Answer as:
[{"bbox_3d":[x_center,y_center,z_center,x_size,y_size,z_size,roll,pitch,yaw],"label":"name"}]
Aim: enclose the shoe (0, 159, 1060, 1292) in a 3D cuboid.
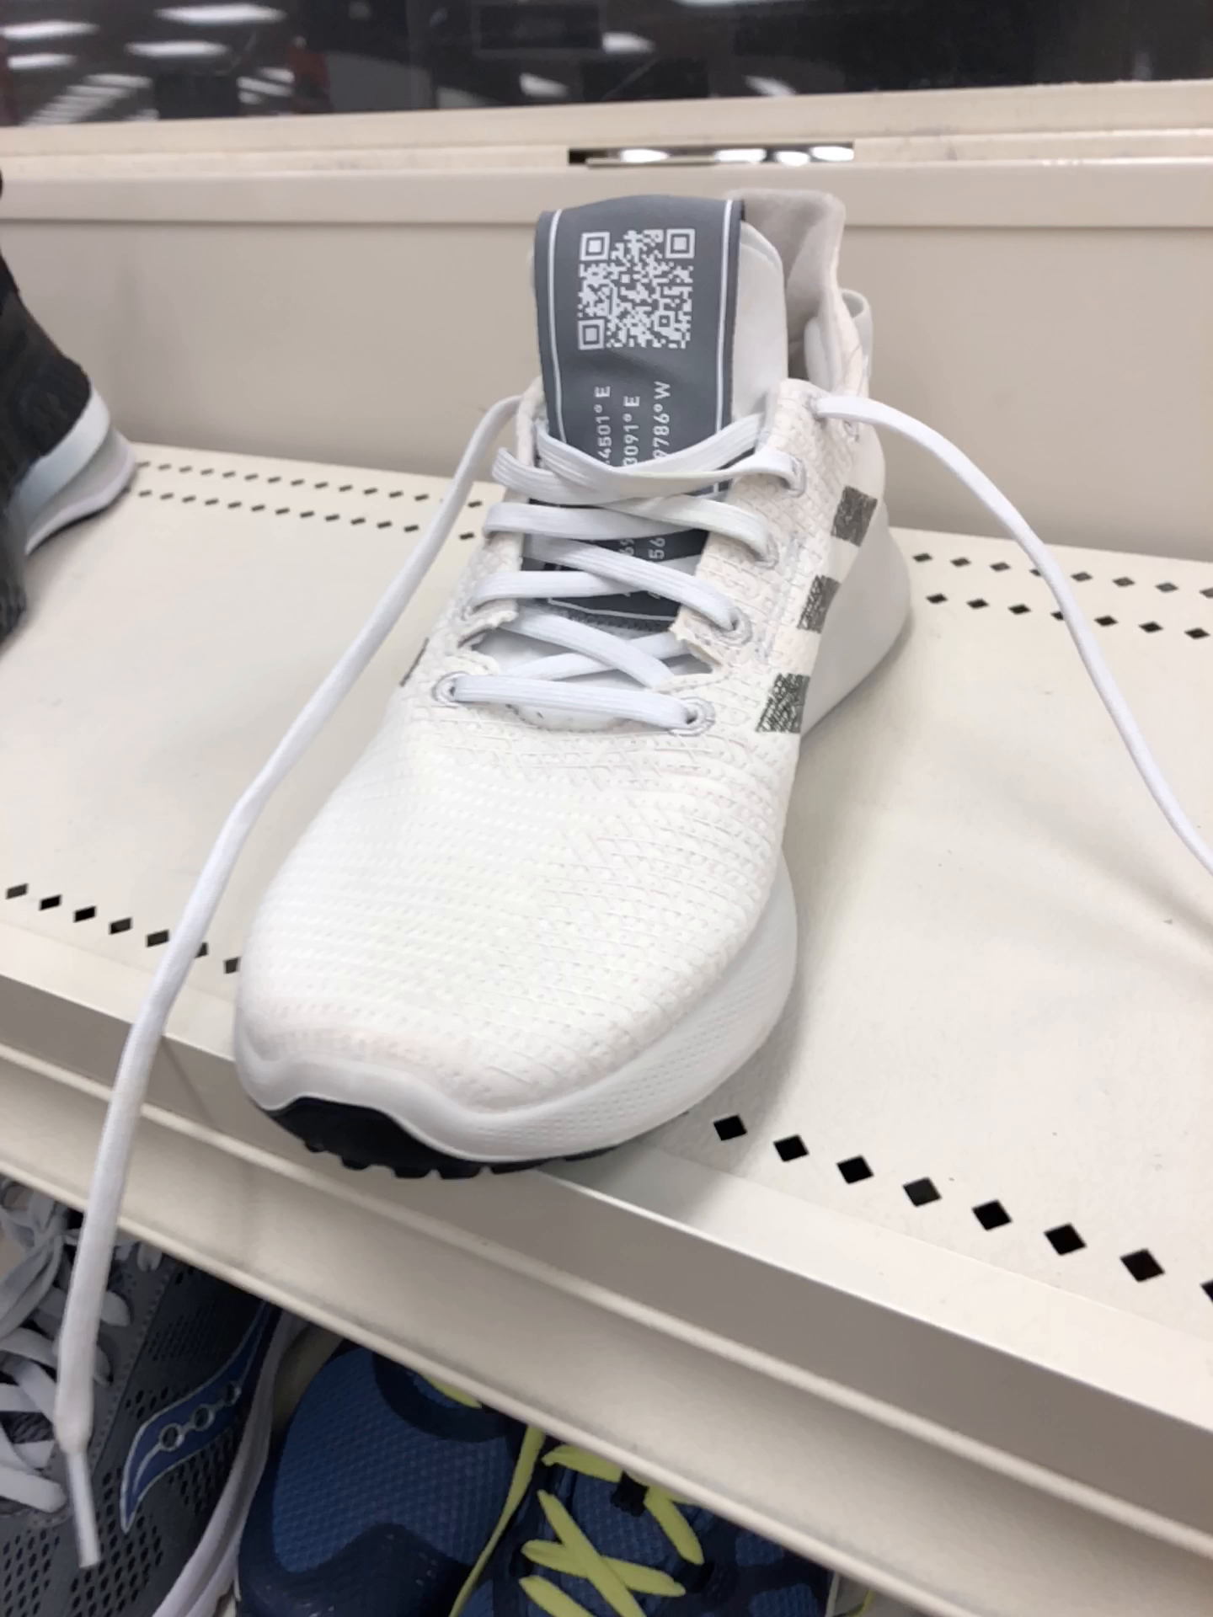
[{"bbox_3d":[0.019,-0.083,0.341,0.128,0.139,0.383,9,28,21],"label":"shoe"}]
